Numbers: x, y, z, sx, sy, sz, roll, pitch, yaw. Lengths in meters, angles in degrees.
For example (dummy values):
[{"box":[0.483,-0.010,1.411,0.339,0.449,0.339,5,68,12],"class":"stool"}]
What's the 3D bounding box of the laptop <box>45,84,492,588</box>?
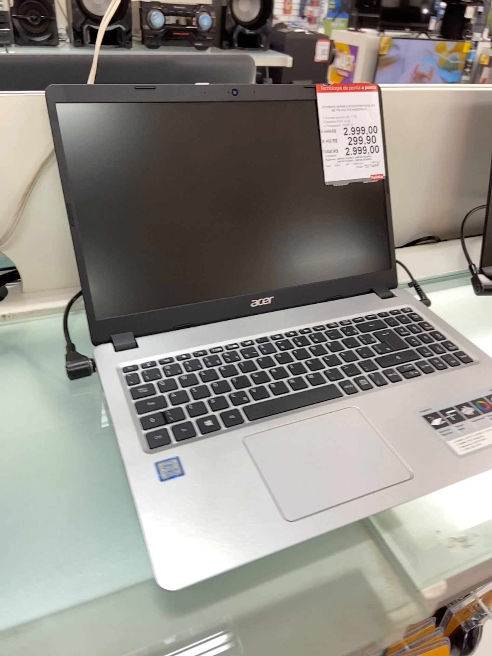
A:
[{"box":[0.052,-0.067,0.447,0.367,0.205,0.374,-11,38,-21],"class":"laptop"}]
